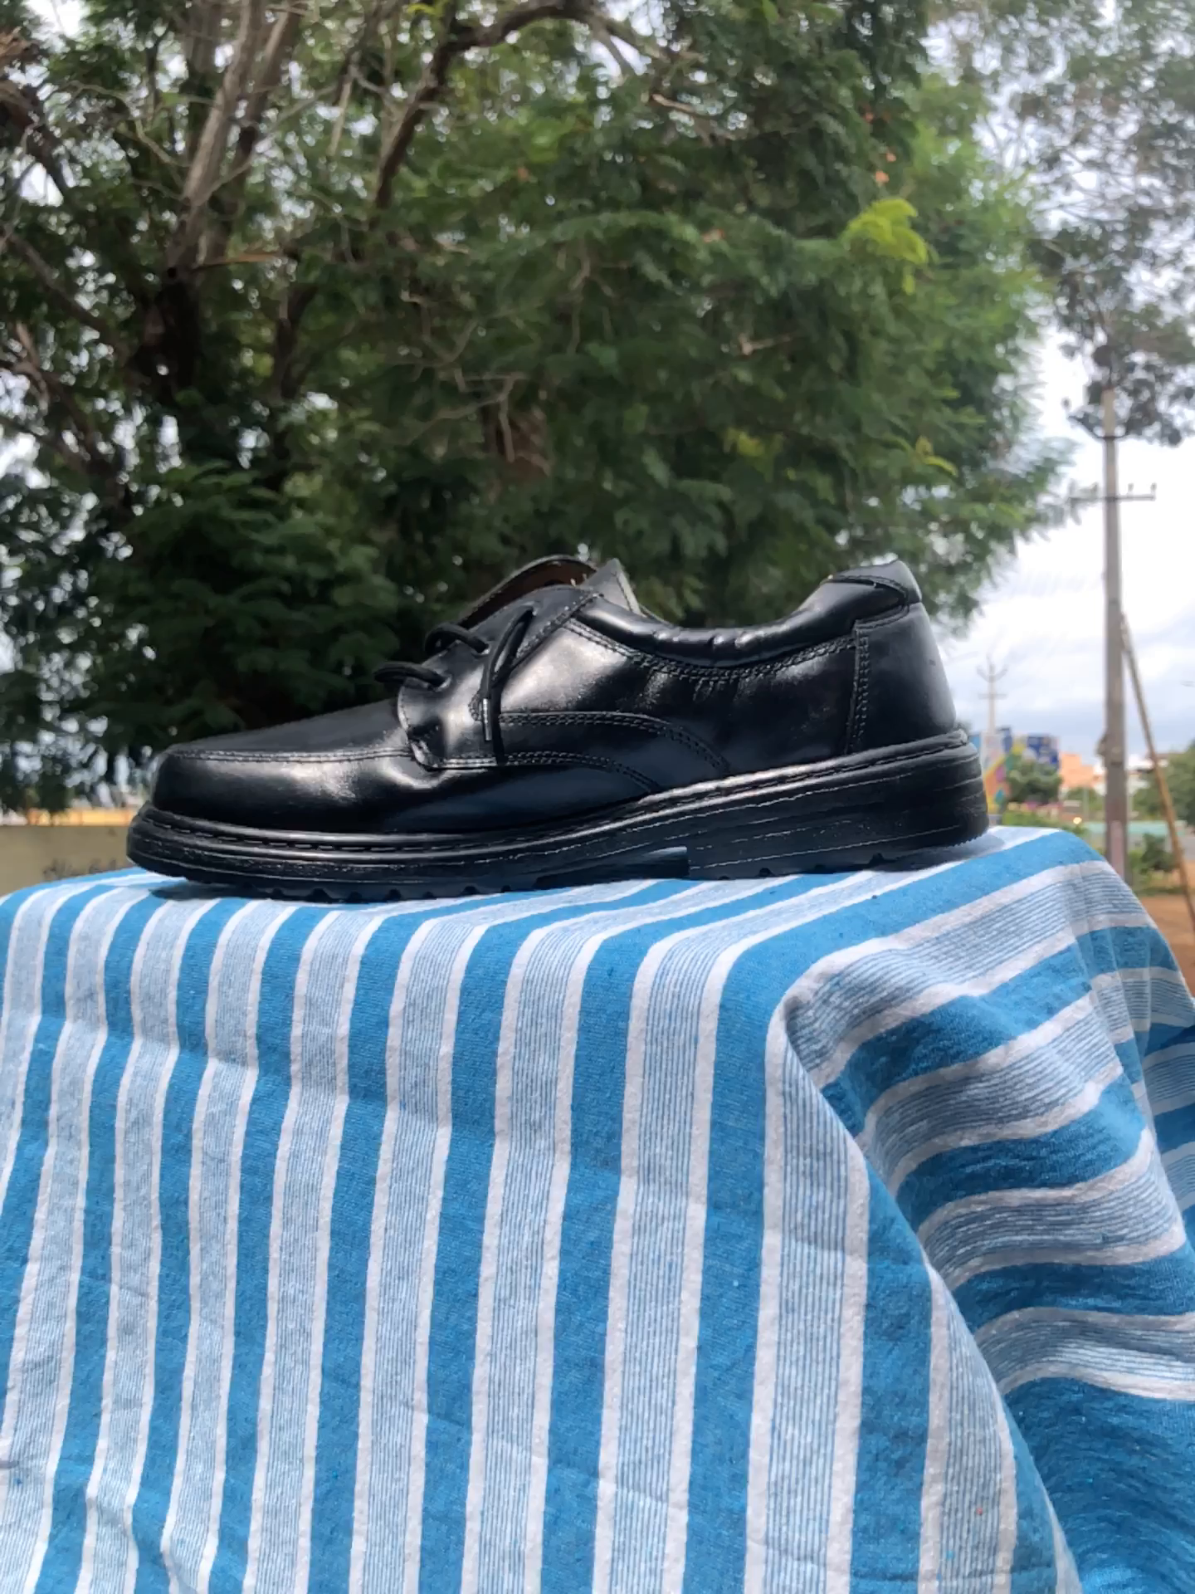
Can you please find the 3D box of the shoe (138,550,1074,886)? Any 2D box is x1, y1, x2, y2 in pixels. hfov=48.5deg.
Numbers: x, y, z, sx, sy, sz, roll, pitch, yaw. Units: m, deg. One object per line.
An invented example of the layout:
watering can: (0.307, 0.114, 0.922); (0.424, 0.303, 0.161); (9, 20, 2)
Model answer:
shoe: (0.004, -0.026, 0.465); (0.290, 0.100, 0.110); (0, 3, 6)
